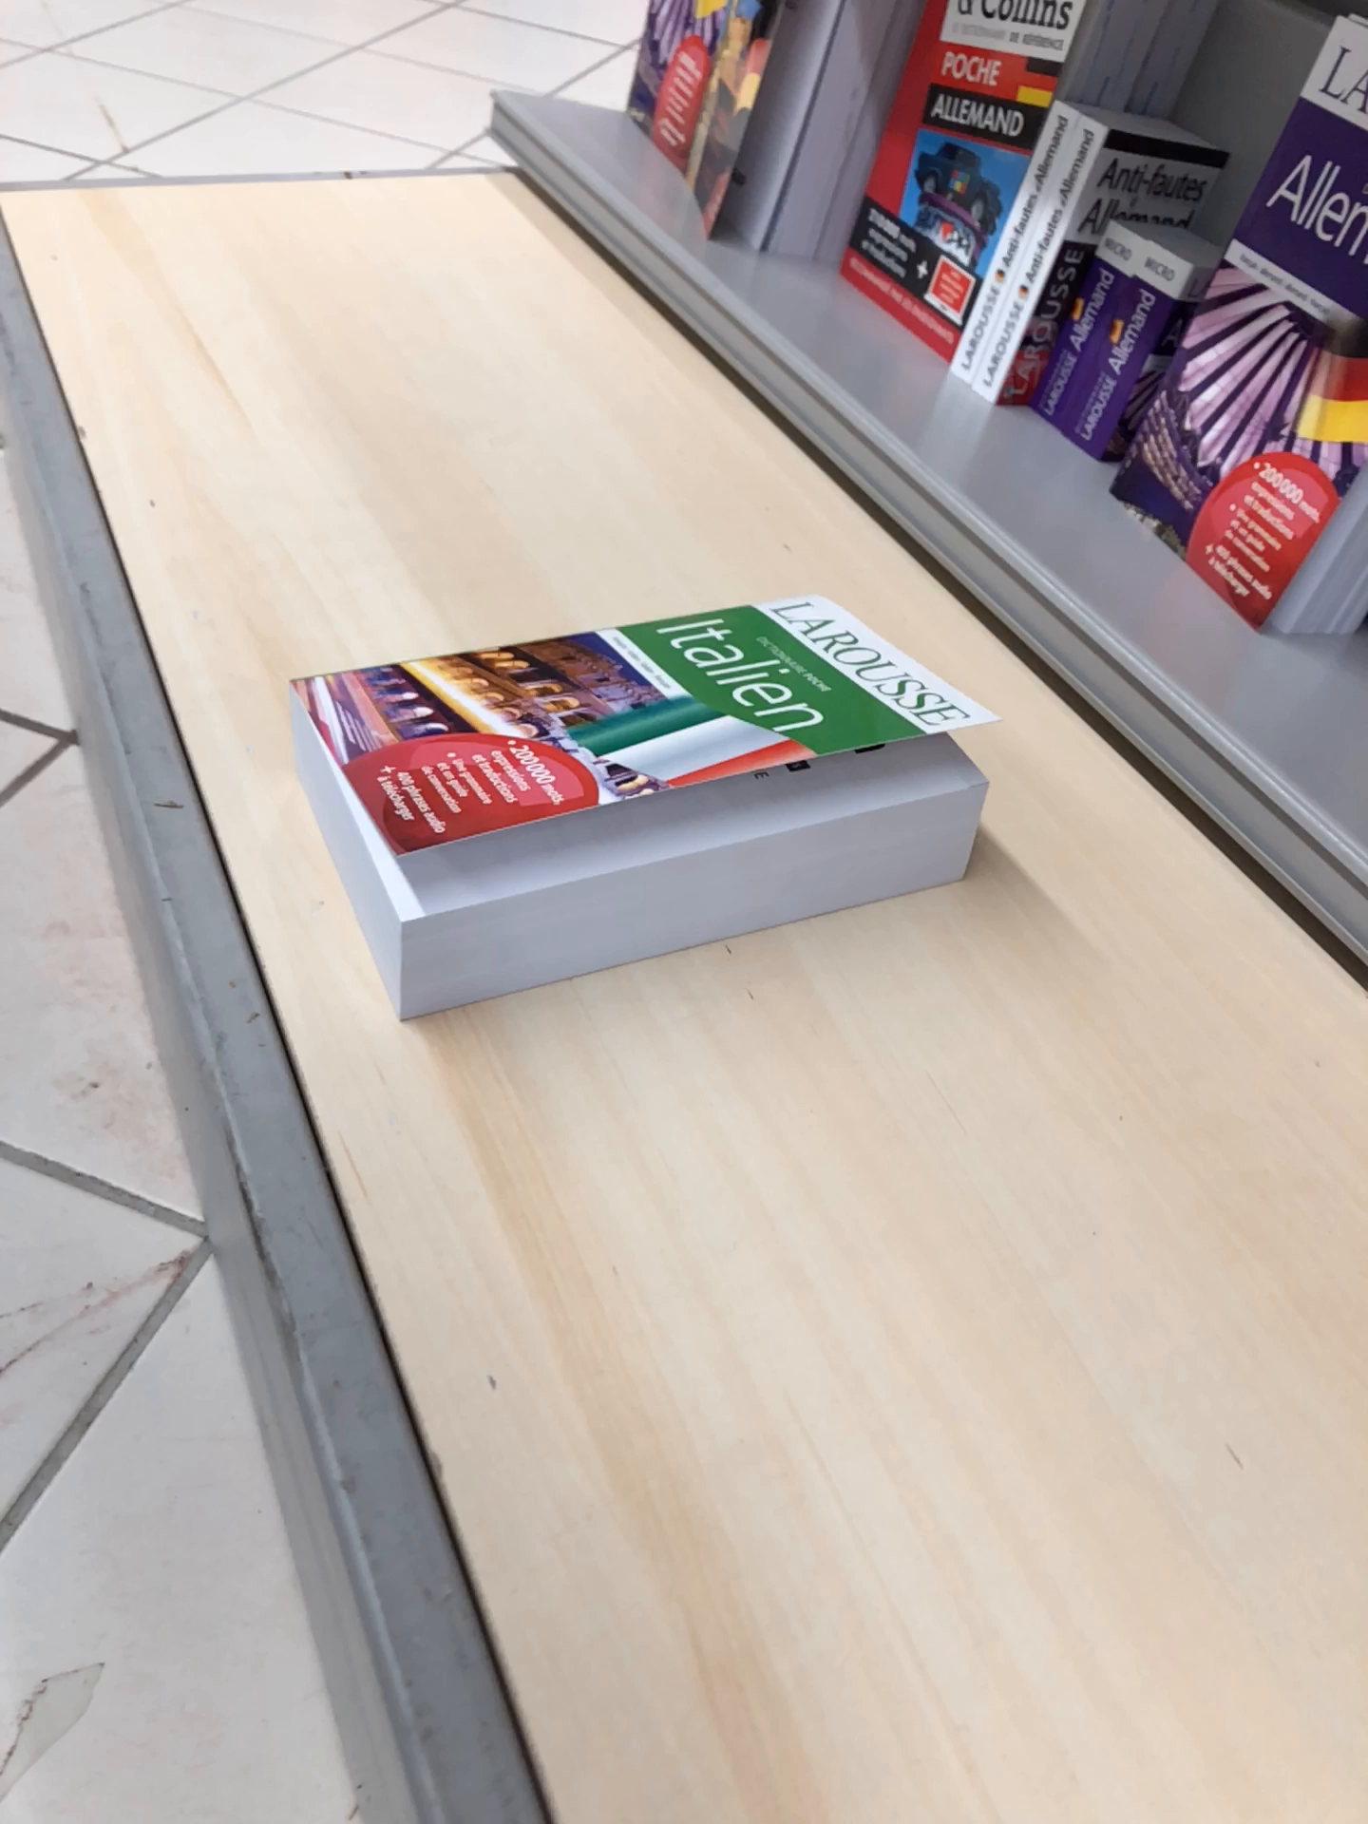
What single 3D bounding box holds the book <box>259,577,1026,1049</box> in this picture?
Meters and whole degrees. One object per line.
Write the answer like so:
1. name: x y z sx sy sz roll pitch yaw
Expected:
1. book: -0.014 -0.036 0.428 0.184 0.045 0.107 -13 47 -22
